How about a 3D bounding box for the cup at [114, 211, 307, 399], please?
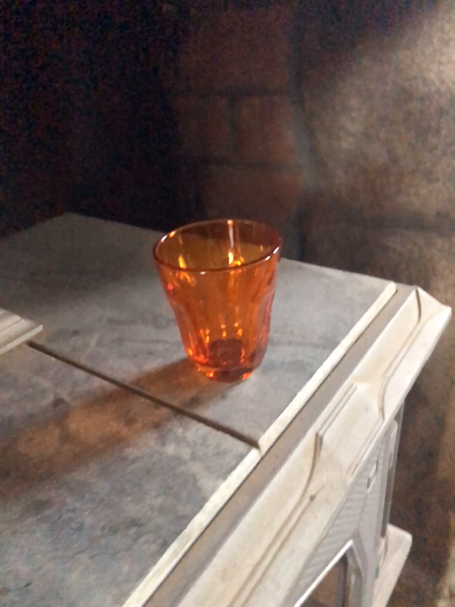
[{"bbox_3d":[-0.006,-0.005,0.308,0.080,0.070,0.080,-4,30,2],"label":"cup"}]
